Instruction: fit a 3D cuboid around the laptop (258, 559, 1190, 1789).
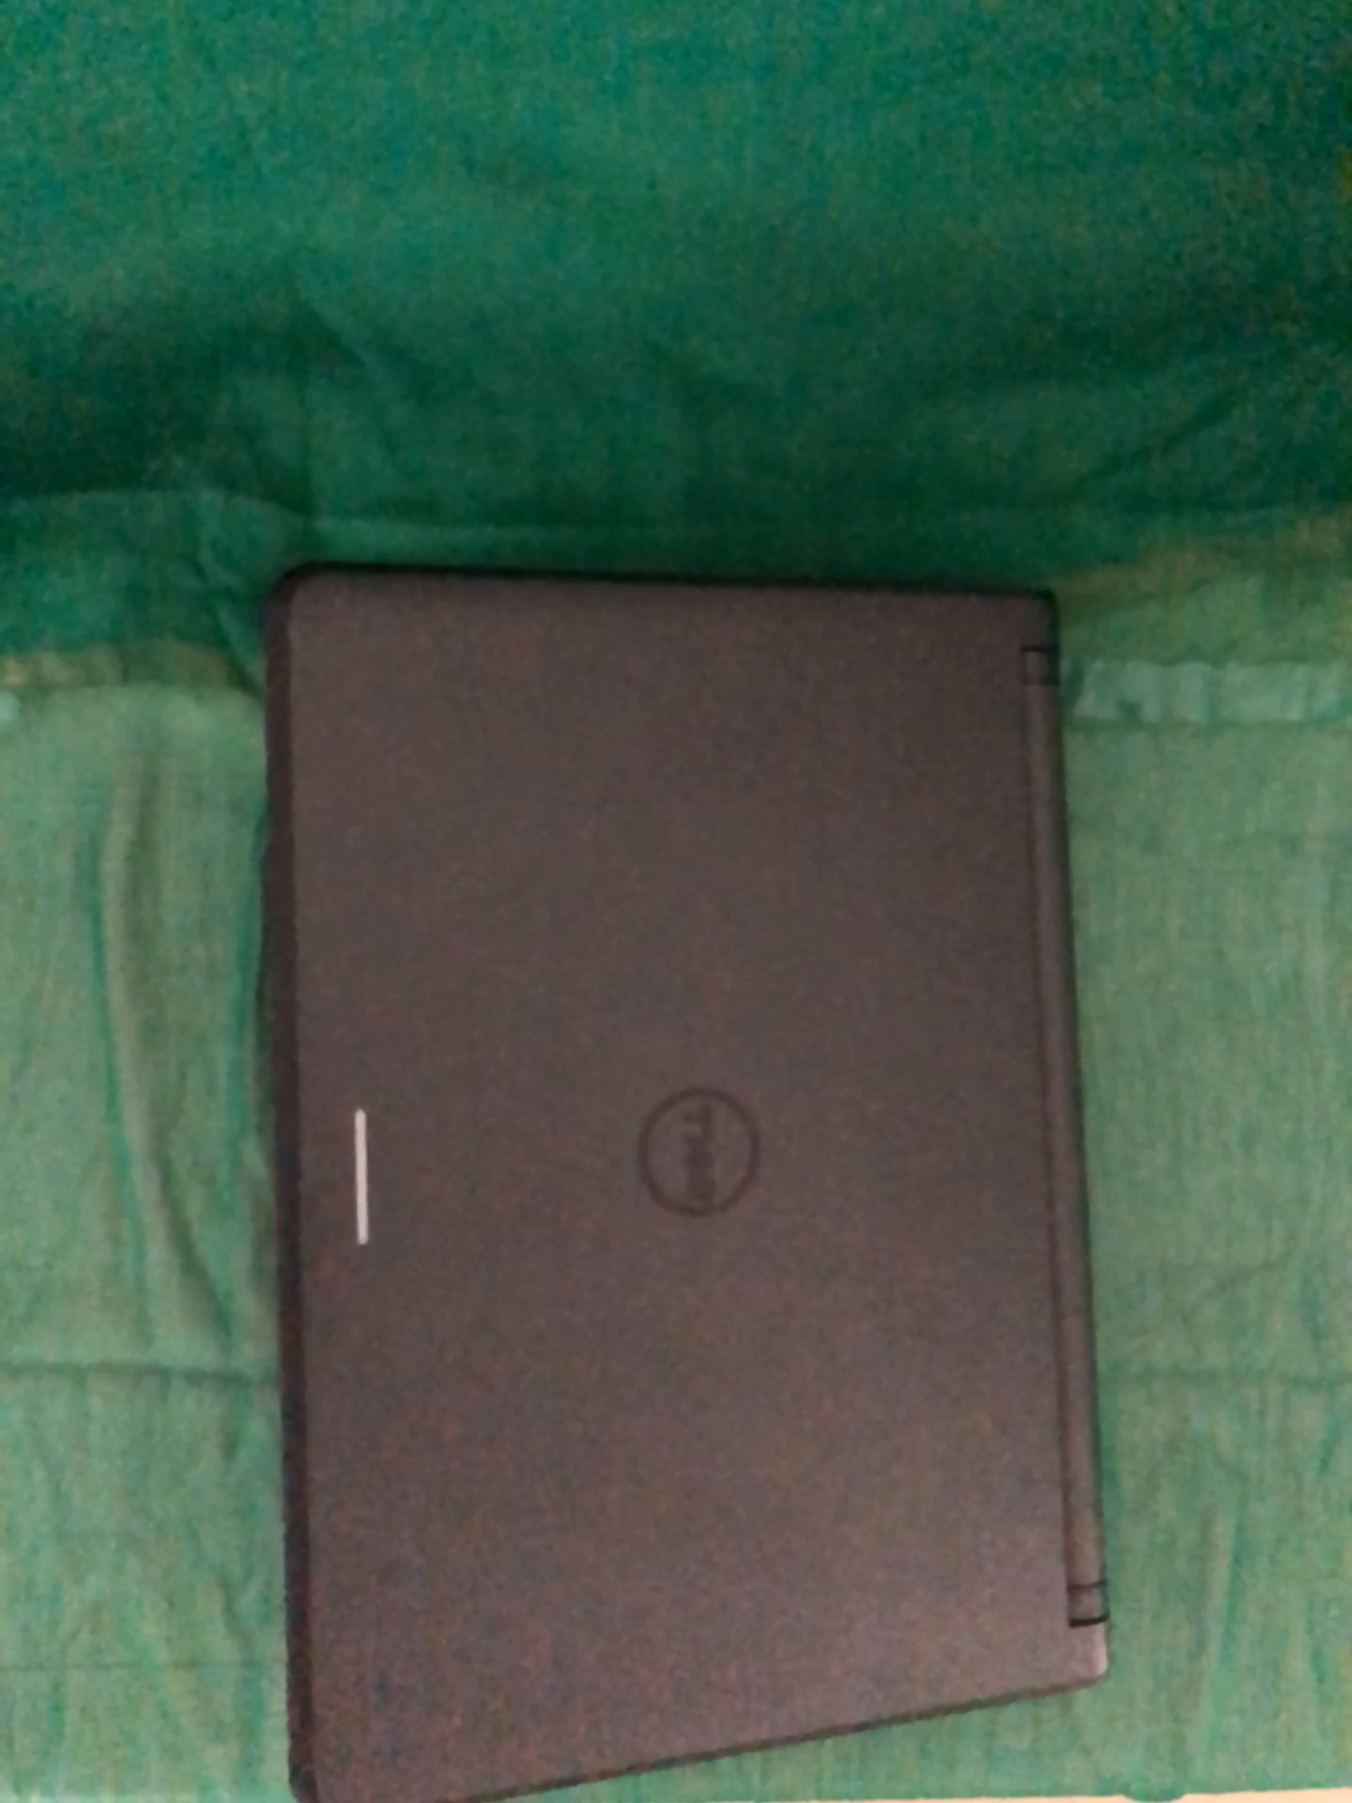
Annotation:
[{"bbox_3d":[0.009,0.067,0.424,0.229,0.065,0.305,-2,86,-2],"label":"laptop"}]
